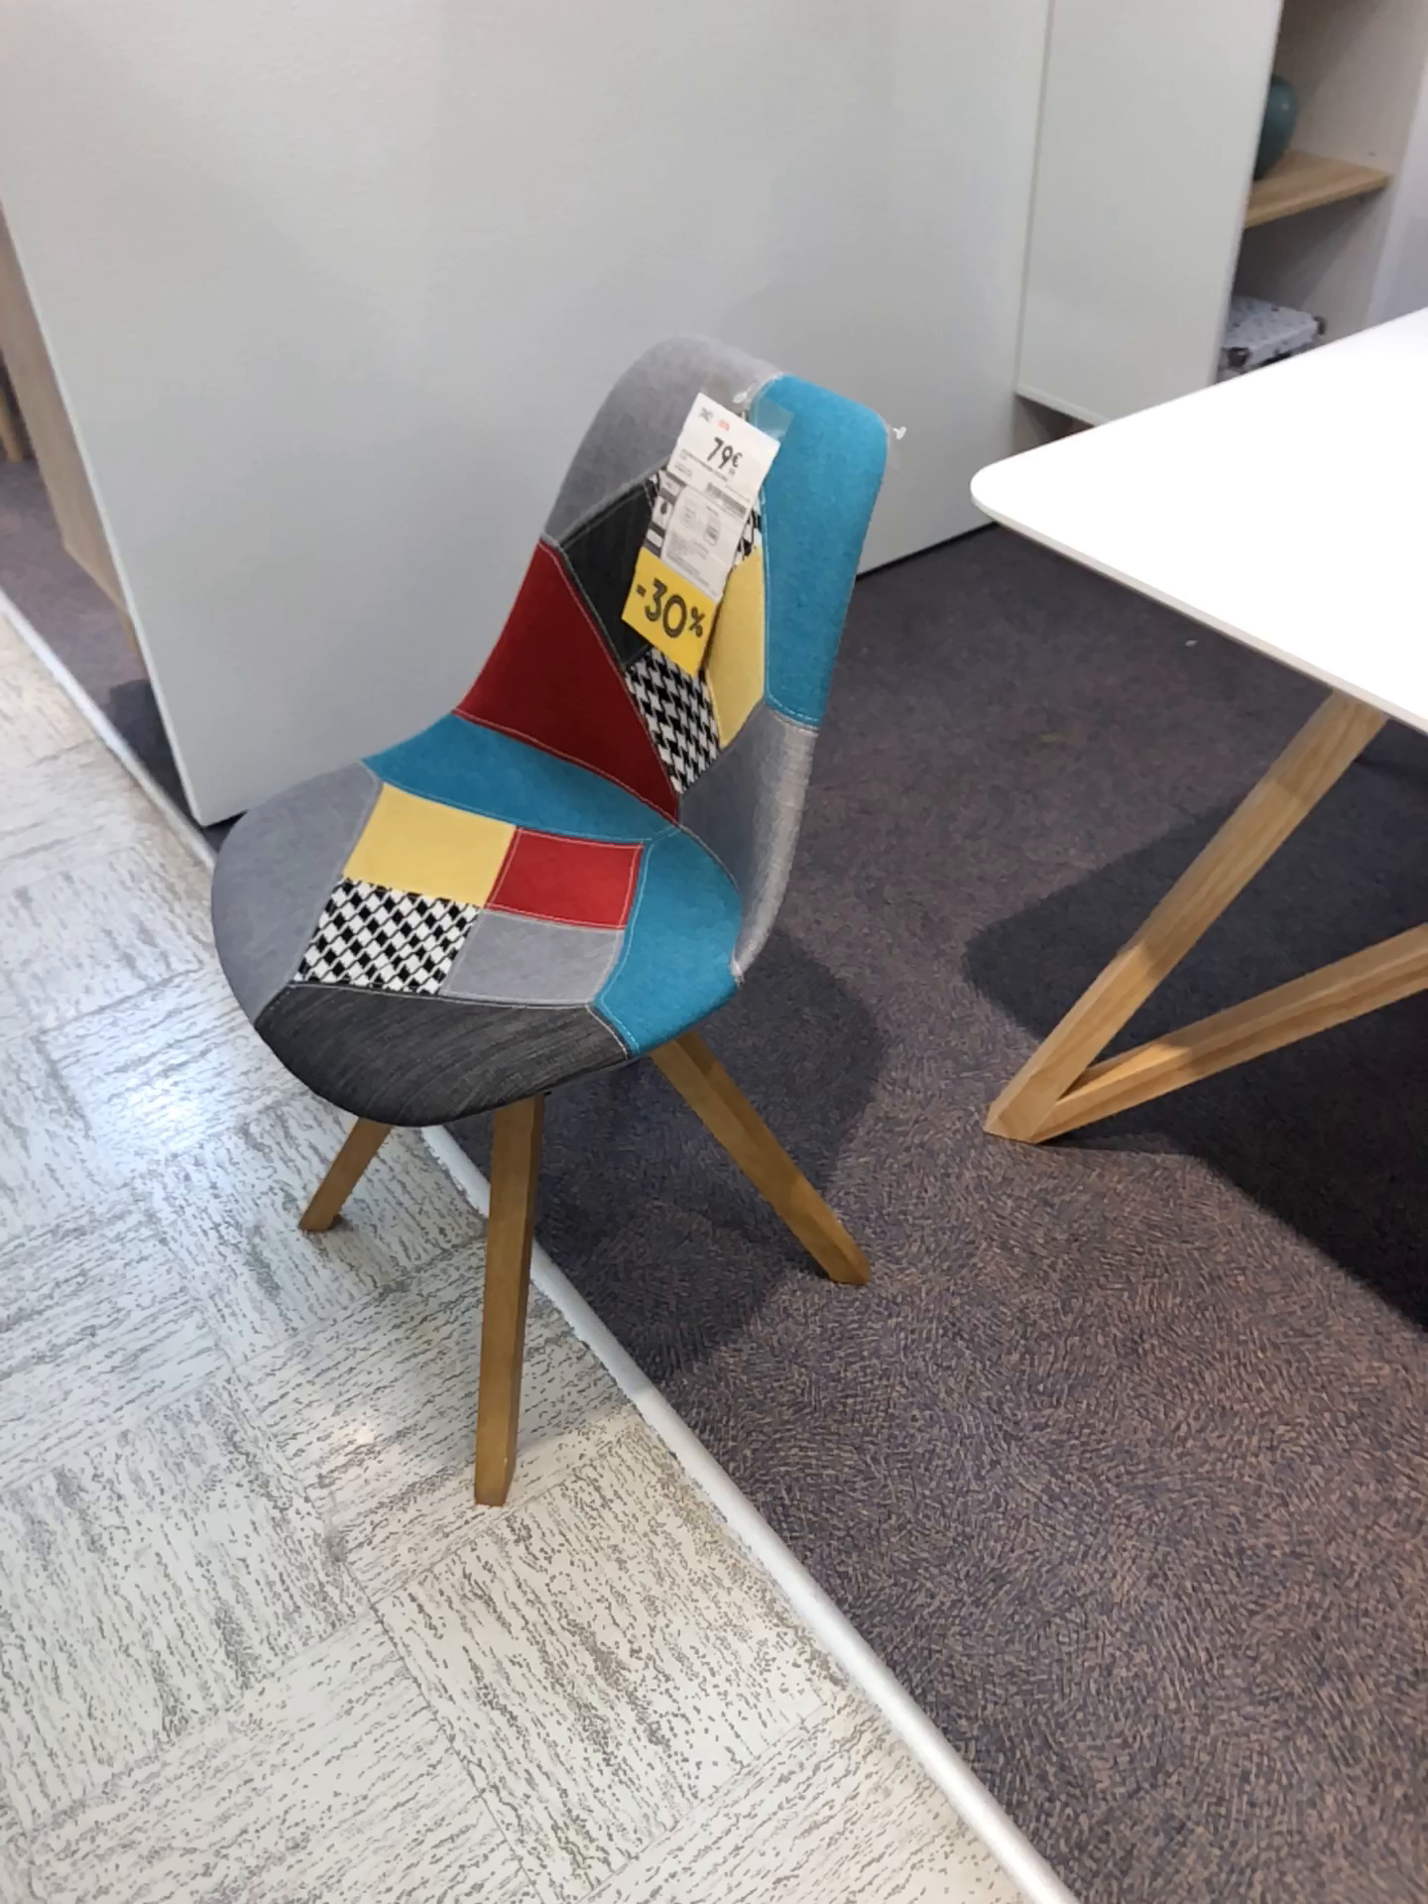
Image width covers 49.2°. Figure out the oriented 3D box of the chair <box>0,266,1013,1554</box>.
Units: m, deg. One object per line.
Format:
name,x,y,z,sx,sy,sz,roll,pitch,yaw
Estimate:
chair,-0.141,-0.033,1.295,0.512,0.815,0.471,-27,46,-26
